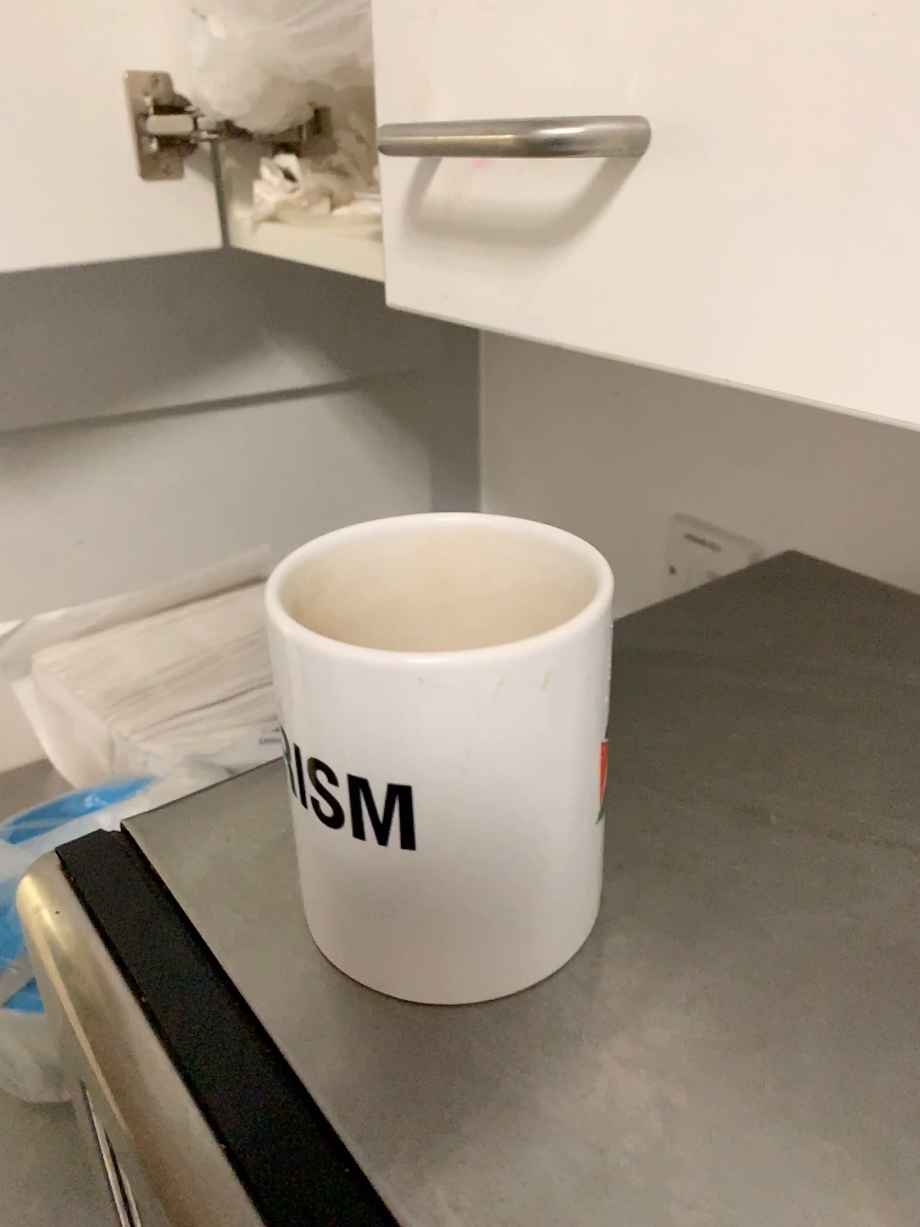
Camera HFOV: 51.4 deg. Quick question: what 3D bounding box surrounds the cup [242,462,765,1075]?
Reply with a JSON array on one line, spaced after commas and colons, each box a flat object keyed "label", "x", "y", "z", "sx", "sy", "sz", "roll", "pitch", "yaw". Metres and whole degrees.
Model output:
[{"label": "cup", "x": 0.002, "y": 0.028, "z": 0.257, "sx": 0.094, "sy": 0.099, "sz": 0.114, "roll": -9, "pitch": 27, "yaw": -17}]
